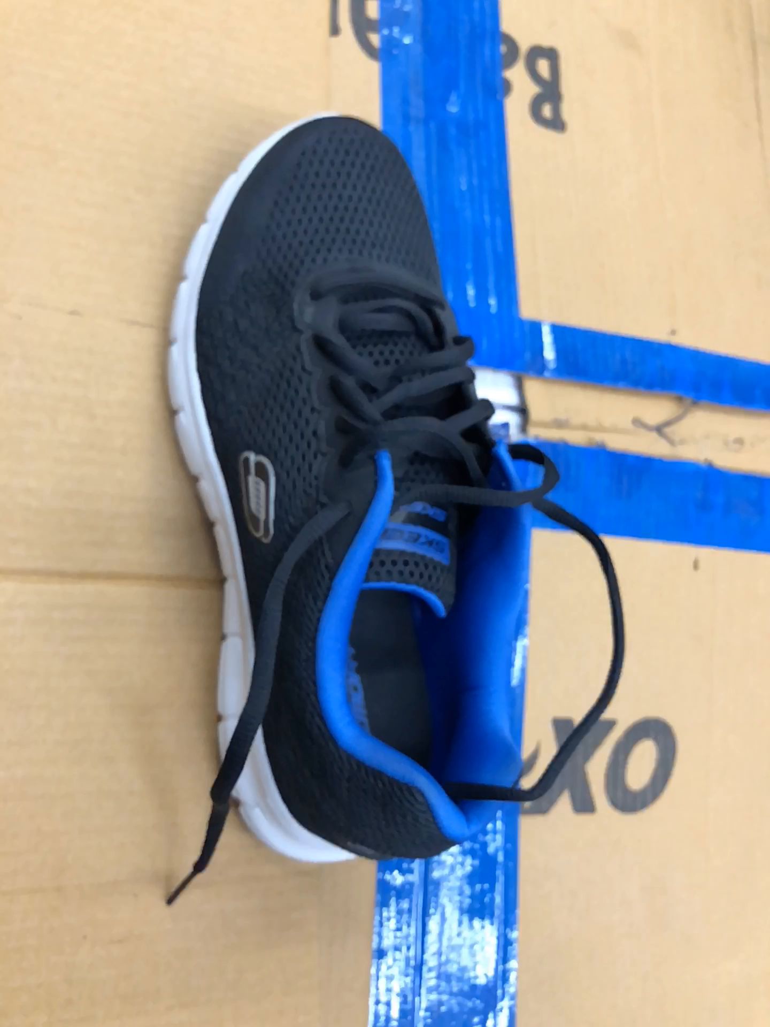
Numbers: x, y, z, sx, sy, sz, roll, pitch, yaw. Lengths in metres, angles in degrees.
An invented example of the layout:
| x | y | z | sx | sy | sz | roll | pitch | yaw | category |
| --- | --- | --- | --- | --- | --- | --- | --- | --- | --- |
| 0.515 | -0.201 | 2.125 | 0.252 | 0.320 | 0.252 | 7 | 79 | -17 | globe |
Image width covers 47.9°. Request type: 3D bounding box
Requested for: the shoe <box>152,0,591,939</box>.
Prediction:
| x | y | z | sx | sy | sz | roll | pitch | yaw | category |
| --- | --- | --- | --- | --- | --- | --- | --- | --- | --- |
| -0.018 | -0.013 | 0.323 | 0.110 | 0.129 | 0.270 | 2 | 80 | -25 | shoe |
